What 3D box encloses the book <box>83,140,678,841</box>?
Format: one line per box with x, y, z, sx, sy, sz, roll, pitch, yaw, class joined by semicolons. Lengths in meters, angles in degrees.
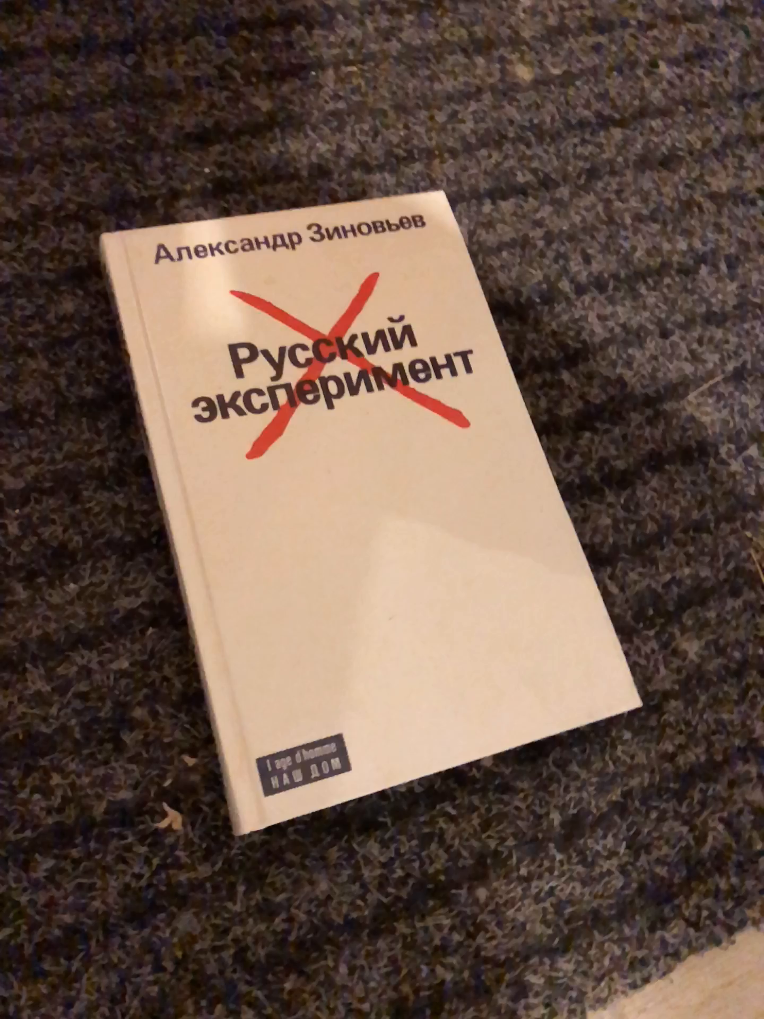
-0.008;-0.017;0.256;0.120;0.040;0.190;-13;72;-14;book
